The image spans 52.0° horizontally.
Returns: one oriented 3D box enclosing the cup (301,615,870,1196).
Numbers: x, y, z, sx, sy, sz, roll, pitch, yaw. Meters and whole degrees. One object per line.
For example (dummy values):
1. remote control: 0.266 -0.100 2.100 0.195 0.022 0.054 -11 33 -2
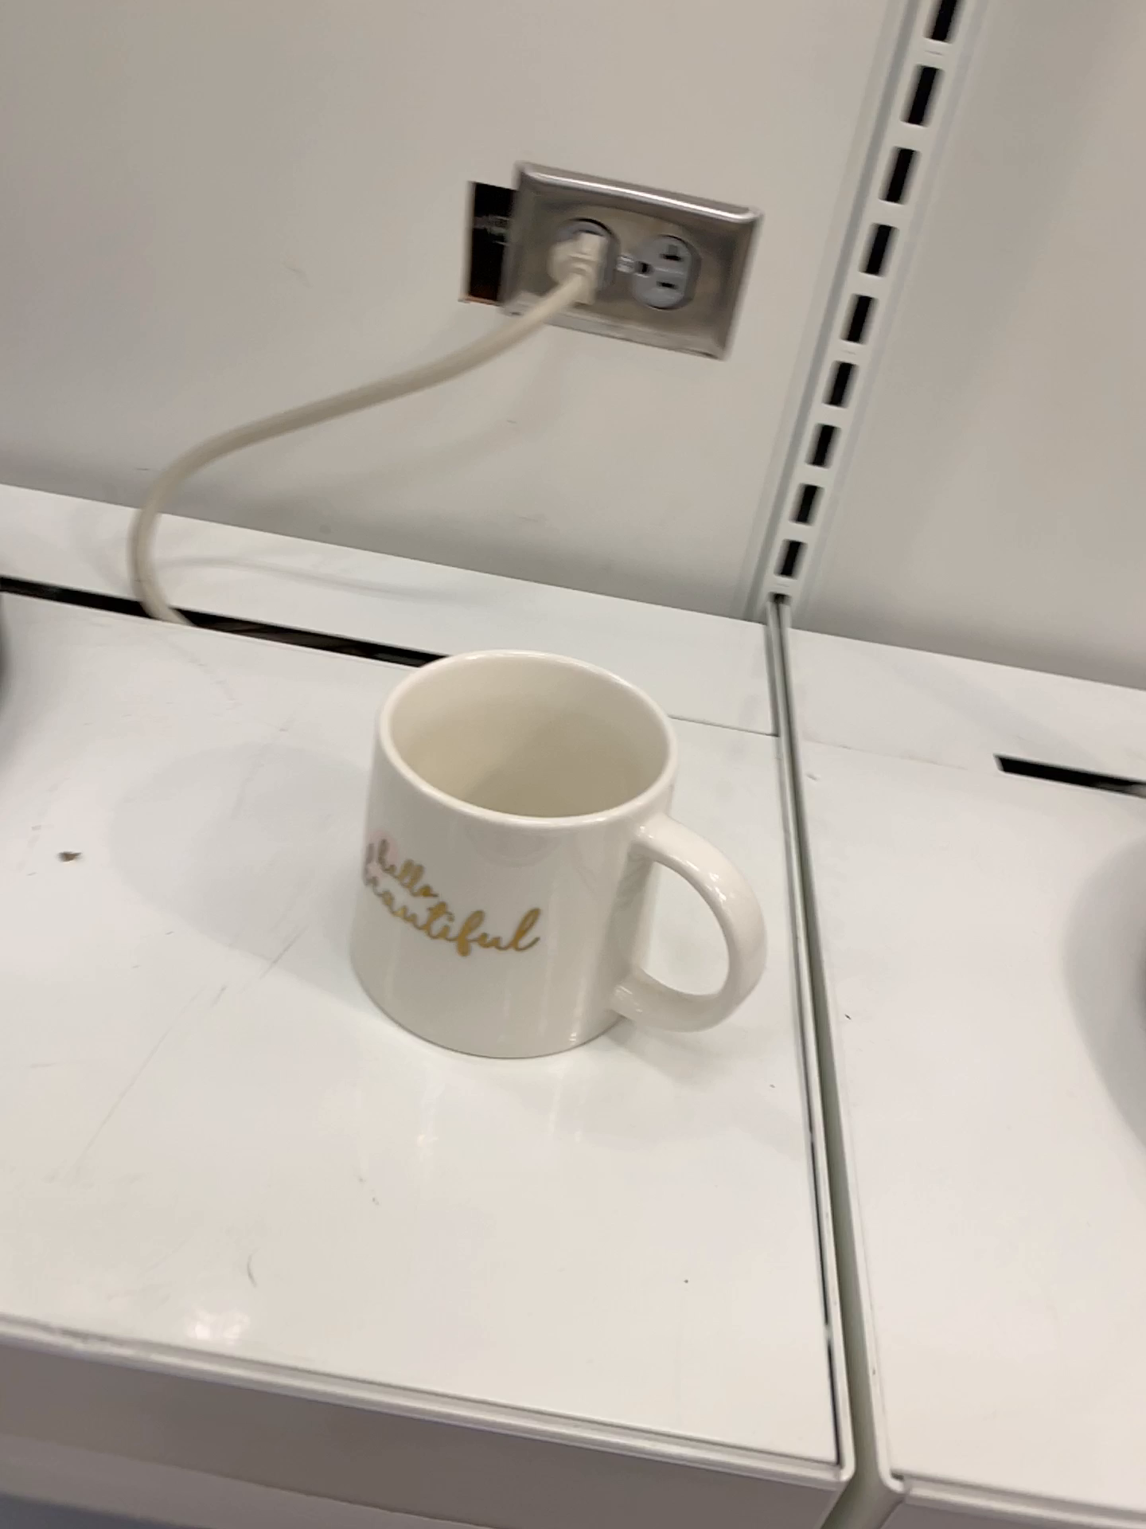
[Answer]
1. cup: 0.000 0.036 0.386 0.140 0.097 0.105 29 41 27
